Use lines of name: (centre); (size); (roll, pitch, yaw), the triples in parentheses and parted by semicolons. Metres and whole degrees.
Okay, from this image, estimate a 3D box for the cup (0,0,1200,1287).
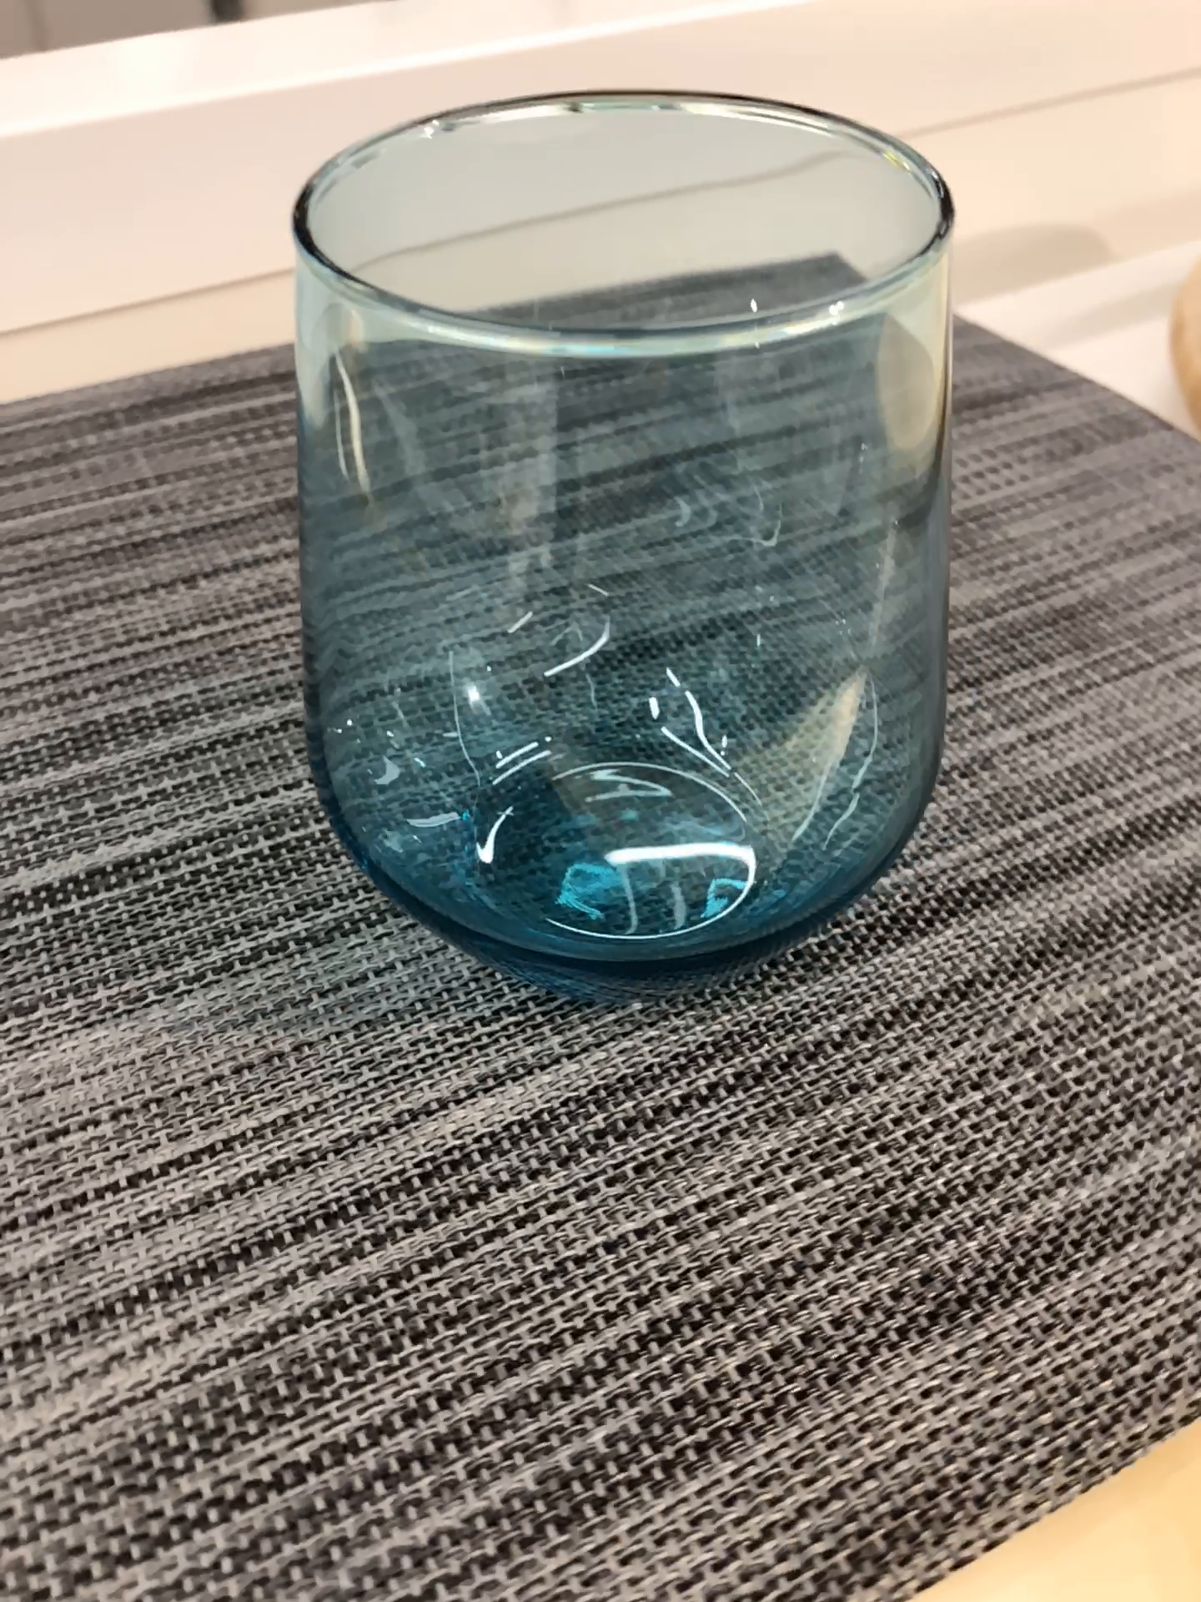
cup: (0.002, -0.036, 0.201); (0.120, 0.120, 0.120); (-1, 42, 1)
